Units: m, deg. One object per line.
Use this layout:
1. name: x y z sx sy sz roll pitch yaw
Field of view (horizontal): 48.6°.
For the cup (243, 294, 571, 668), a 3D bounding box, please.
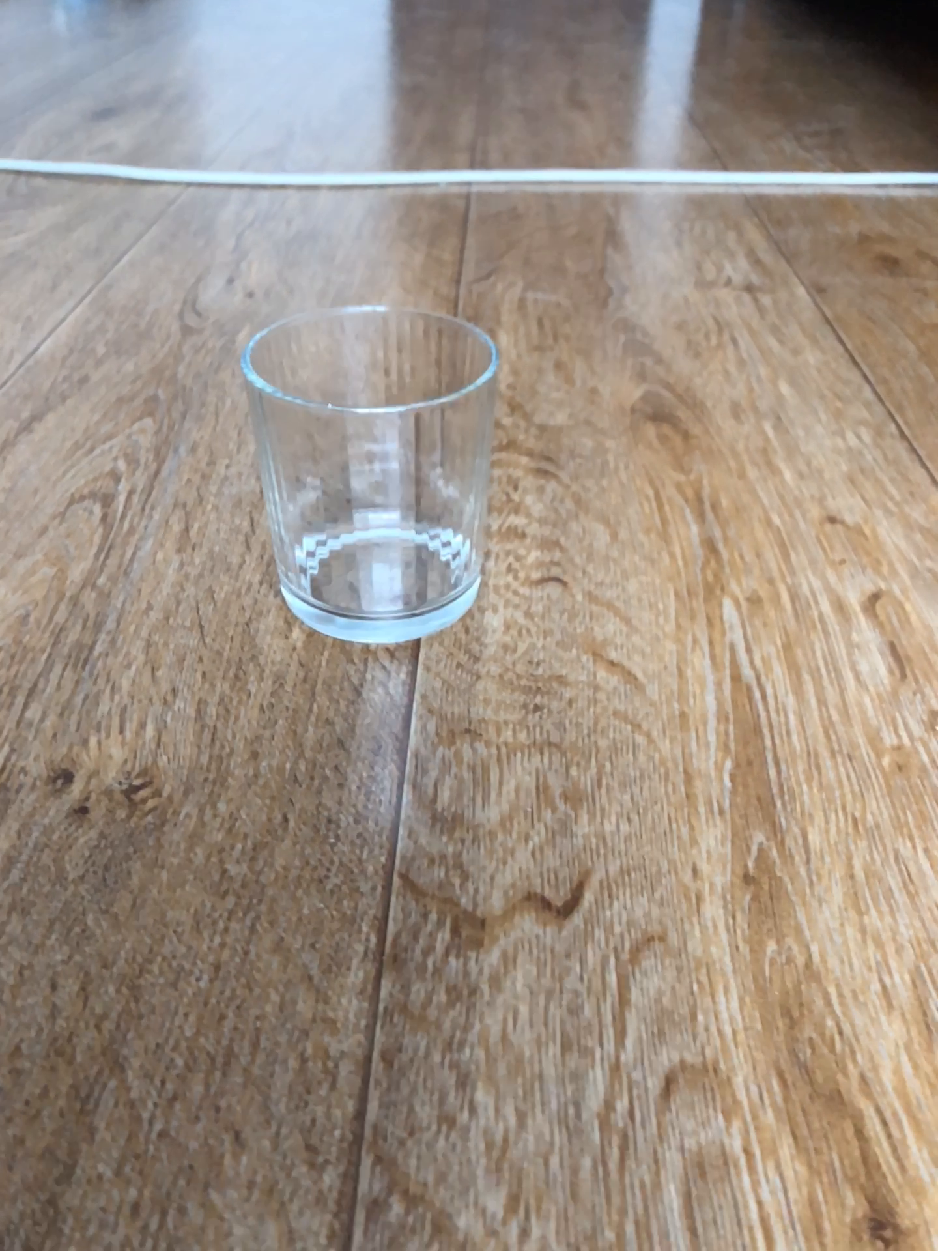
1. cup: -0.022 -0.048 0.324 0.078 0.079 0.076 1 37 -1
